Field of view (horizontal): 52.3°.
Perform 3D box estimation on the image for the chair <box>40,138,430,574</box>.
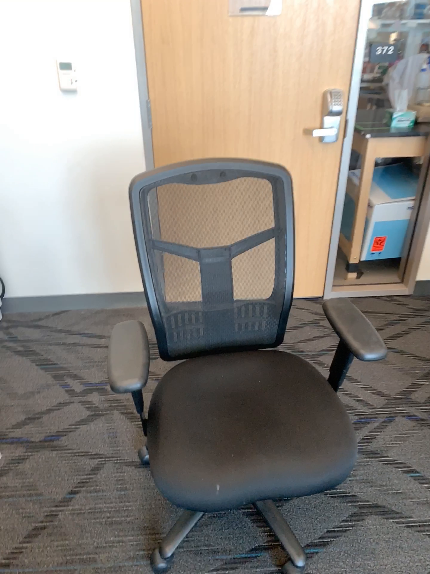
[{"bbox_3d":[0.055,0.187,1.211,0.660,0.992,0.726,-3,30,-3],"label":"chair"}]
